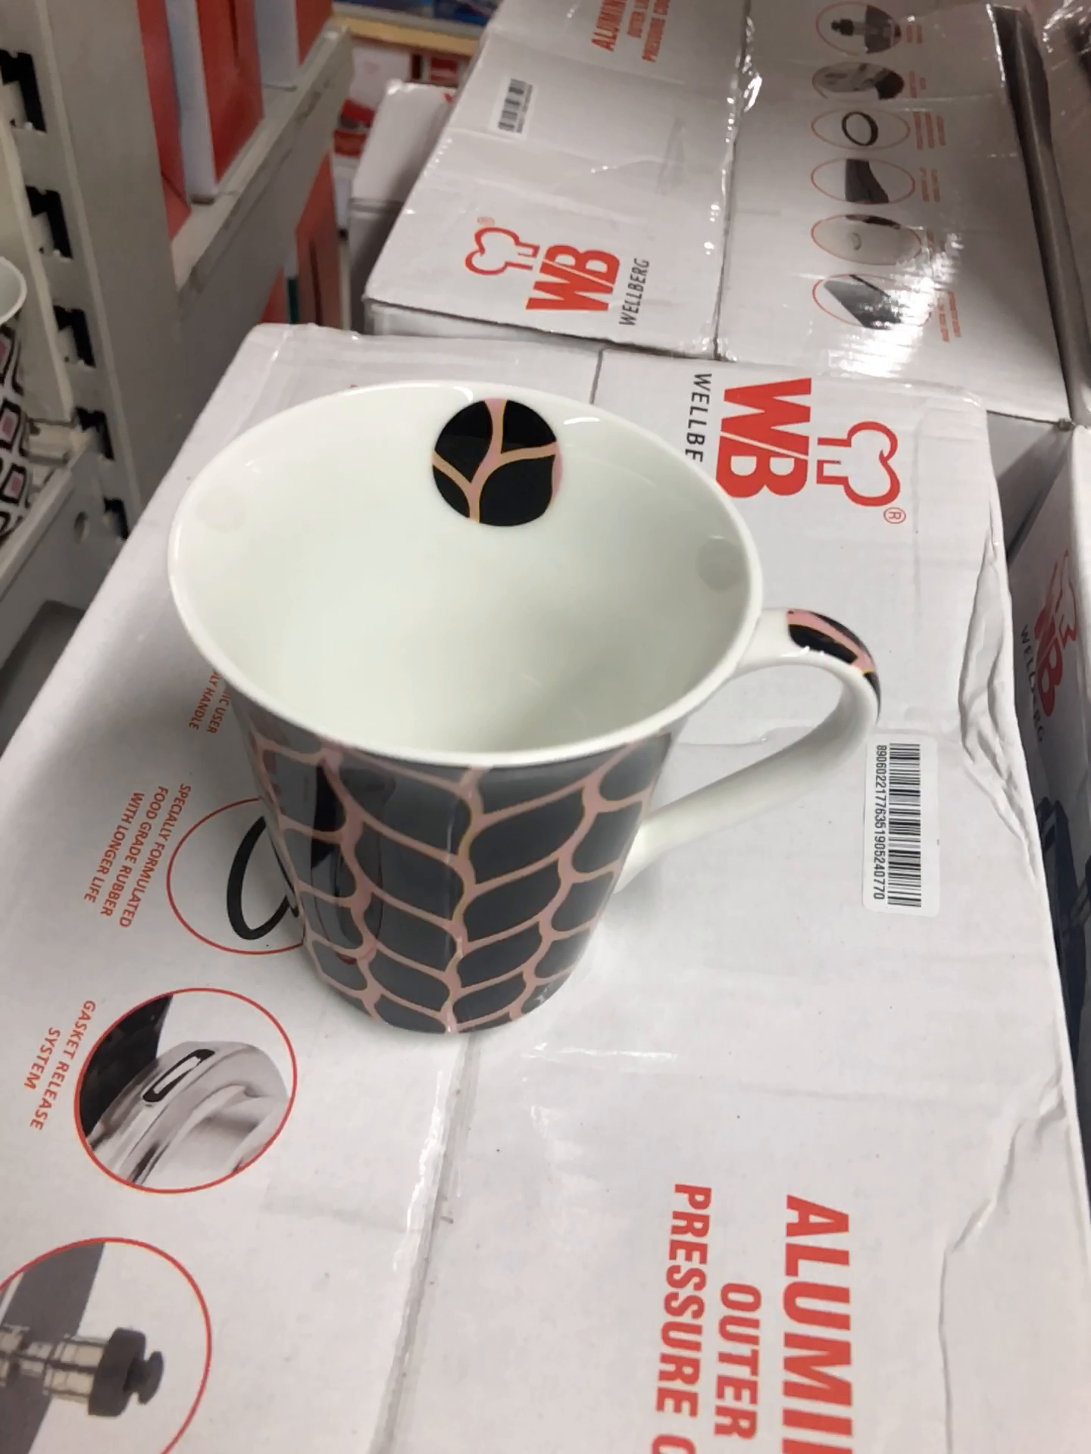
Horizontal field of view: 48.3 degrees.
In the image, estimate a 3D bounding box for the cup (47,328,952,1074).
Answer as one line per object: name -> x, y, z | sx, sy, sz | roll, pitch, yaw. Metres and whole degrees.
cup -> -0.010, 0.001, 0.211 | 0.110, 0.099, 0.080 | 2, 50, -5
